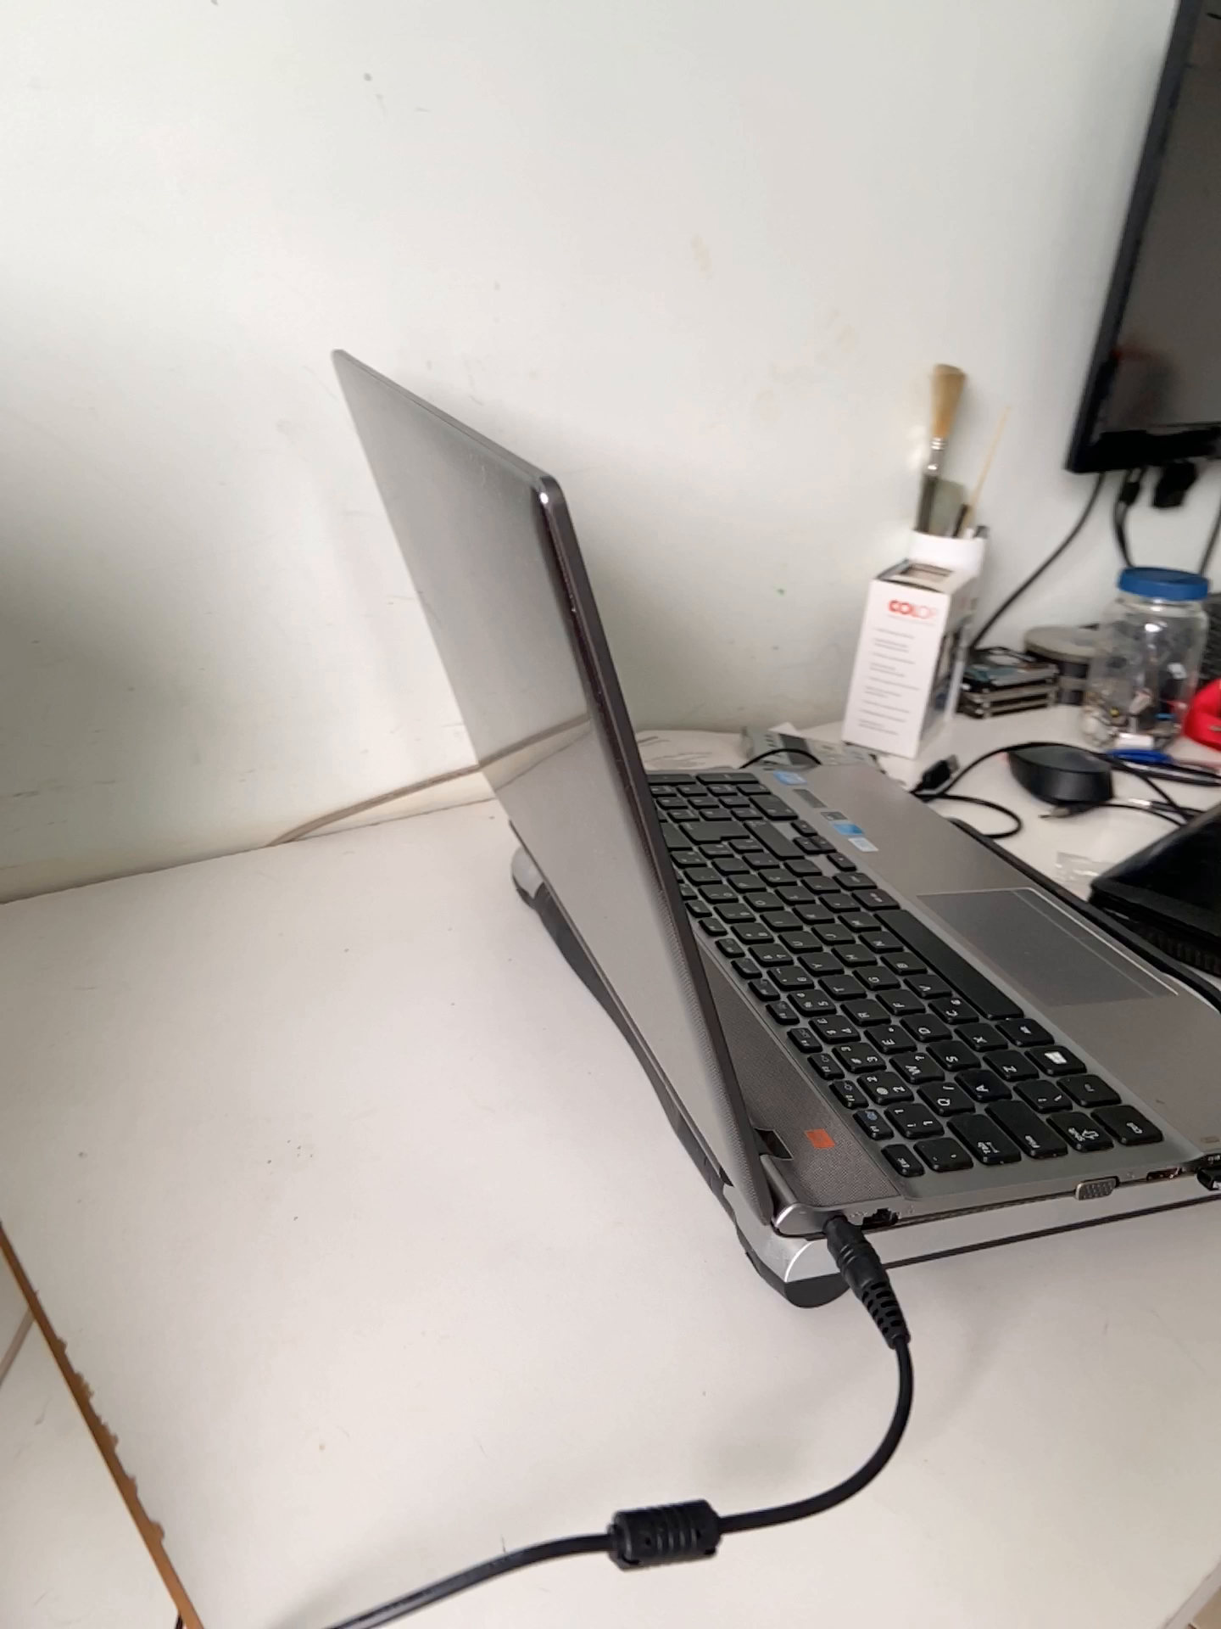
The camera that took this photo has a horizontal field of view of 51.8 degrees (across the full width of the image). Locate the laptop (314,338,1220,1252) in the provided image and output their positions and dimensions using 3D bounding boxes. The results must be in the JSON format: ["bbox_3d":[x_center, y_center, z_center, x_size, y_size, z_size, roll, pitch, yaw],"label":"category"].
[{"bbox_3d":[0.071,-0.054,0.522,0.335,0.213,0.369,-2,24,-19],"label":"laptop"}]
